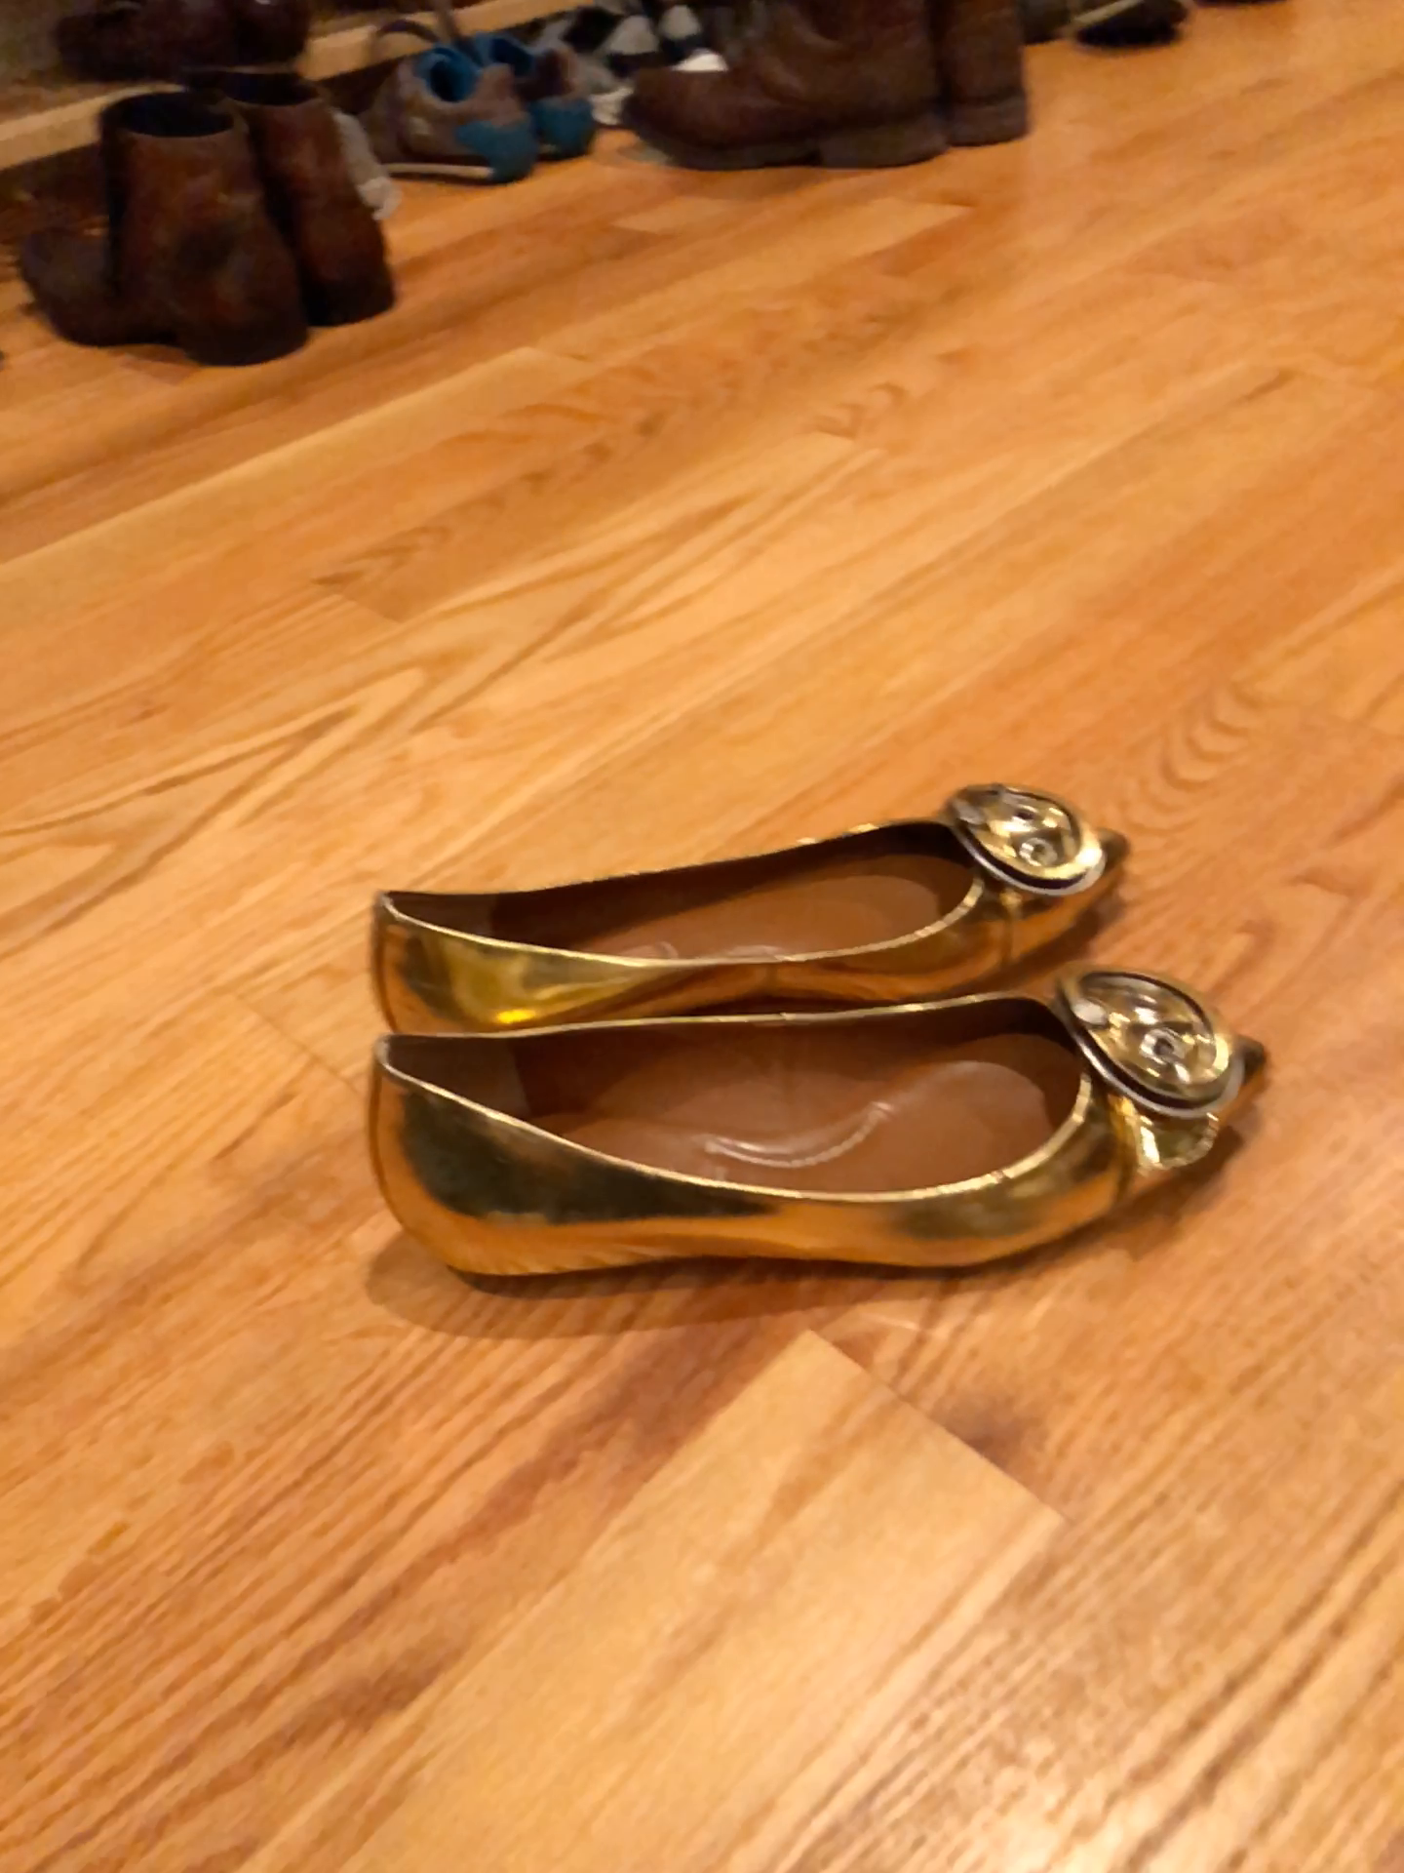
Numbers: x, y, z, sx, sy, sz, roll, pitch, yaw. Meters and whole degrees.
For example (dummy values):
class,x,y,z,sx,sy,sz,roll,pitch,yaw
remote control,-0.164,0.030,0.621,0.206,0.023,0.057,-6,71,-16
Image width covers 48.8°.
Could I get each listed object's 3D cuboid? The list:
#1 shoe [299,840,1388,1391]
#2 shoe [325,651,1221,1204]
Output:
class,x,y,z,sx,sy,sz,roll,pitch,yaw
shoe,0.032,0.044,0.399,0.249,0.066,0.077,-9,39,-2
shoe,0.021,-0.008,0.464,0.244,0.066,0.083,-16,40,-10
